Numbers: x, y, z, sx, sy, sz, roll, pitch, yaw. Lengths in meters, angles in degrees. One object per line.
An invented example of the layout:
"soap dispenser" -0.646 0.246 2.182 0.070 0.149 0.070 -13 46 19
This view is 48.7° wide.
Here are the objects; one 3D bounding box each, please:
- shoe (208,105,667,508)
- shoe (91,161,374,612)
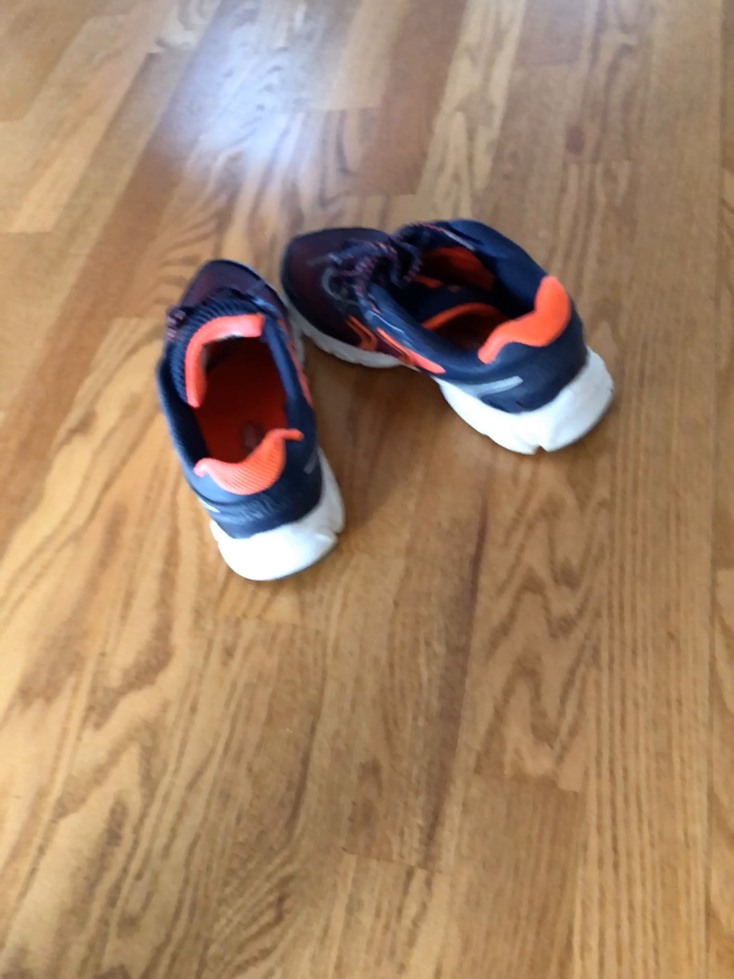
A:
"shoe" 0.037 -0.130 0.533 0.116 0.109 0.278 -43 57 -13
"shoe" -0.095 -0.076 0.535 0.108 0.109 0.270 -20 55 2
